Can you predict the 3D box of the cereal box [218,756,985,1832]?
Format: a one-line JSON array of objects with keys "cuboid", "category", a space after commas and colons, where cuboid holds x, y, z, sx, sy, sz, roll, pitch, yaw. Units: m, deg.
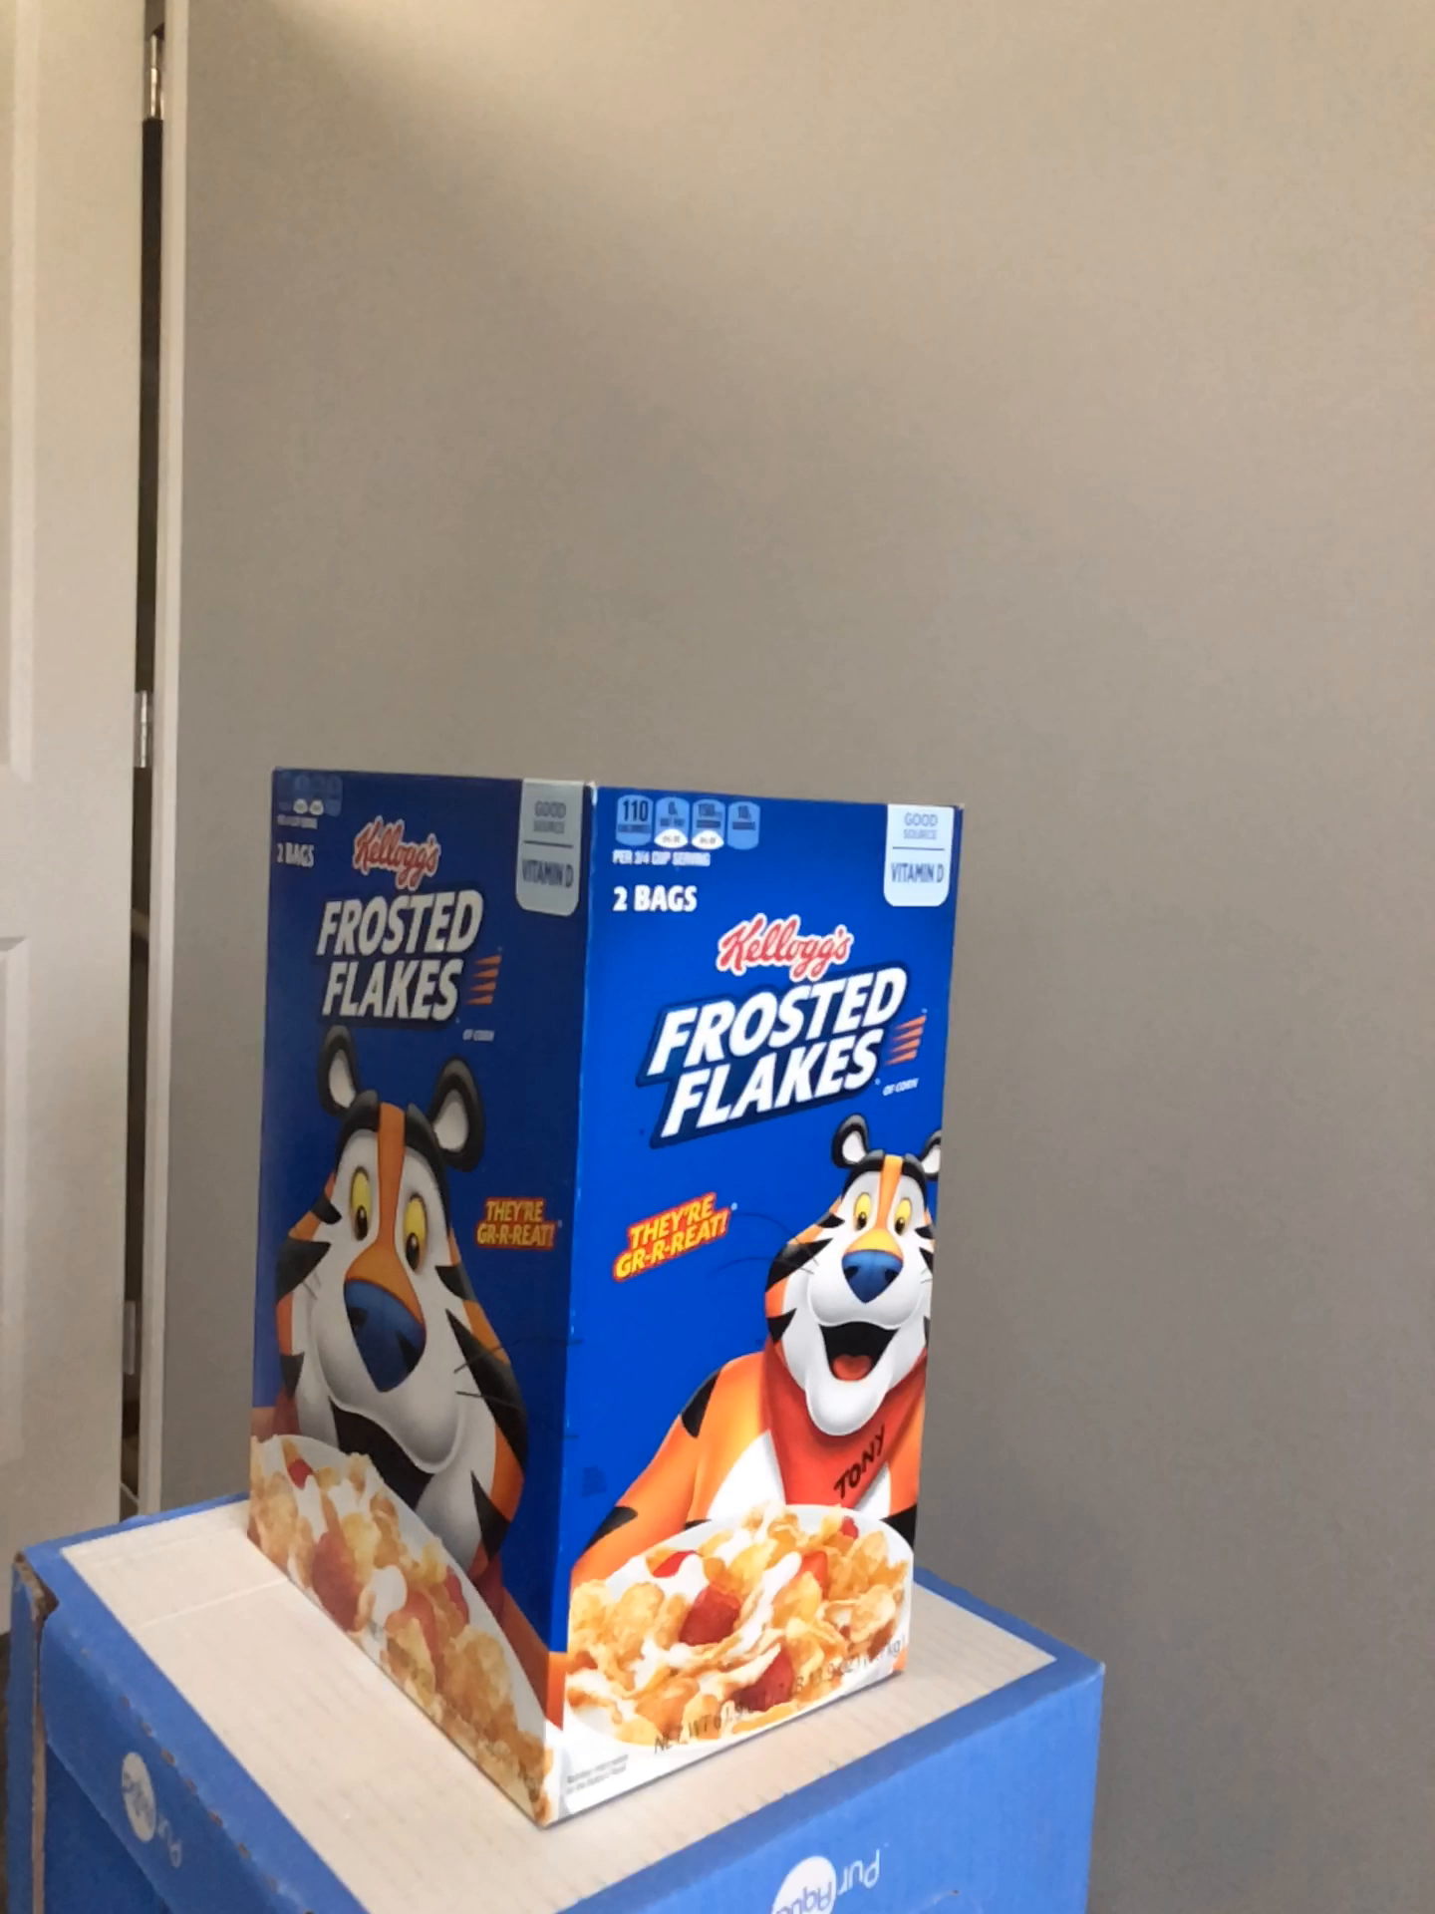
[{"cuboid": [-0.061, 0.088, 0.615, 0.170, 0.320, 0.260, -1, 6, -37], "category": "cereal box"}]
